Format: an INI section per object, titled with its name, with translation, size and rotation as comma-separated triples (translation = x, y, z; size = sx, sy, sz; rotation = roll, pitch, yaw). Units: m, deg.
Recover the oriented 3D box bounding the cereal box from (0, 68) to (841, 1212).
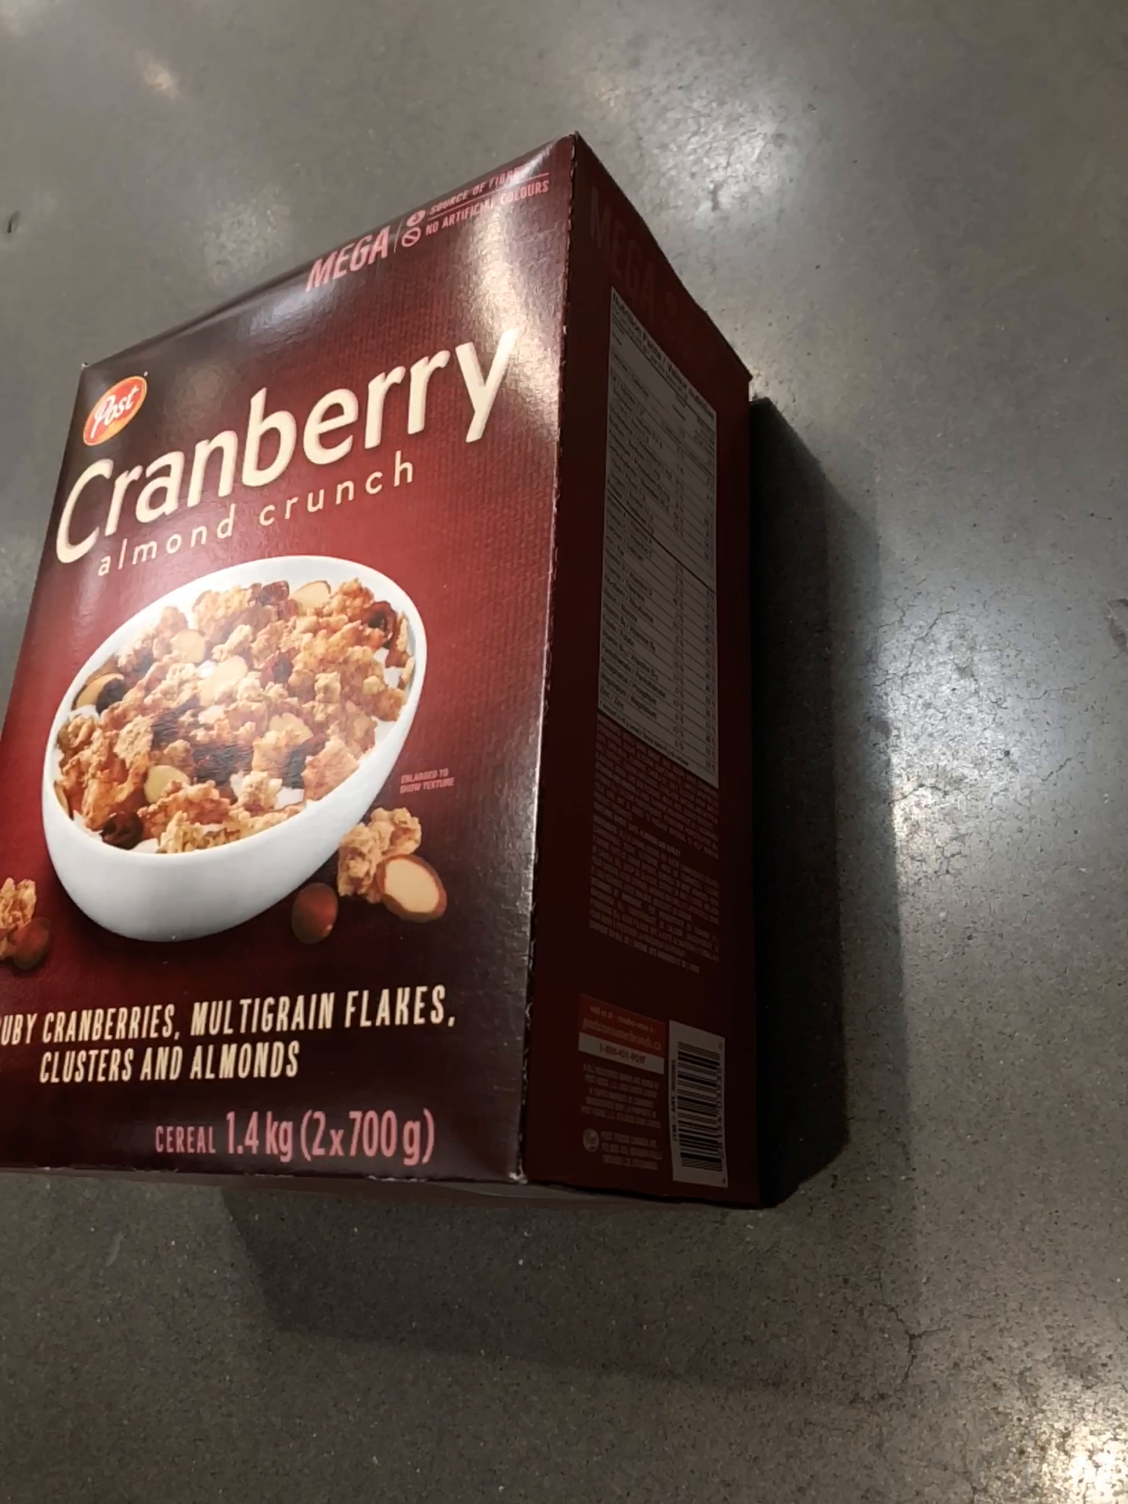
[cereal box]
translation = -0.063, -0.012, 0.425
size = 0.261, 0.130, 0.310
rotation = -12, 65, 30
